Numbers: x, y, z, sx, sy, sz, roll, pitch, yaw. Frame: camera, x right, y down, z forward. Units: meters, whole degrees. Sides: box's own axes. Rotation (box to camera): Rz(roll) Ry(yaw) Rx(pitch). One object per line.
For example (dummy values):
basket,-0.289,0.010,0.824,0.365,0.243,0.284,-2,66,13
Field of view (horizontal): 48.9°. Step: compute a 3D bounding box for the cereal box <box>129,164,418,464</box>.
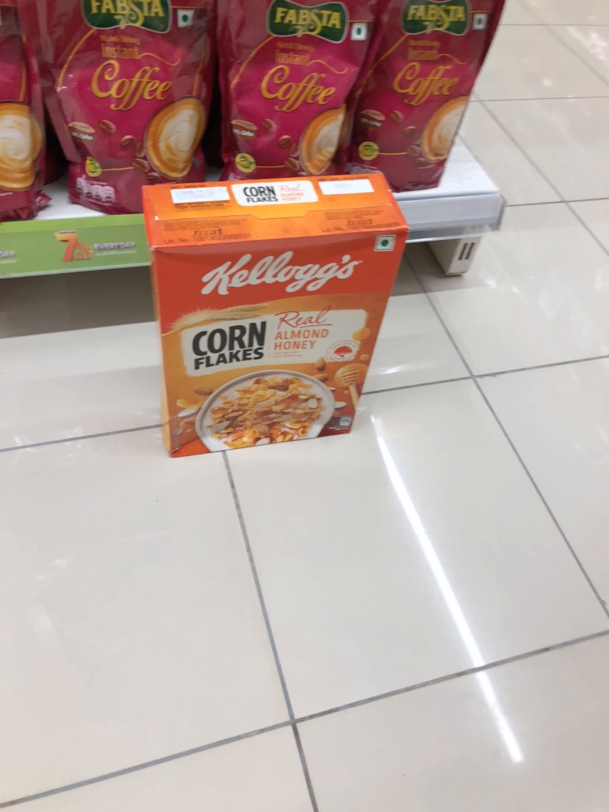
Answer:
cereal box,-0.037,-0.069,0.592,0.200,0.268,0.080,-6,52,-12
